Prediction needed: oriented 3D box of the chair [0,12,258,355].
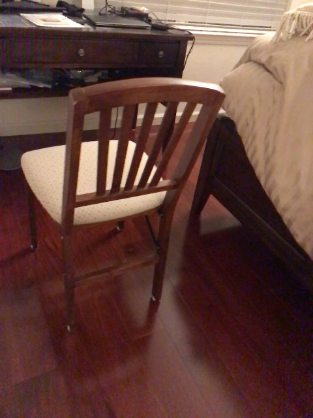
[{"bbox_3d":[-0.199,-0.127,1.230,0.532,0.893,0.723,-11,40,-26],"label":"chair"}]
